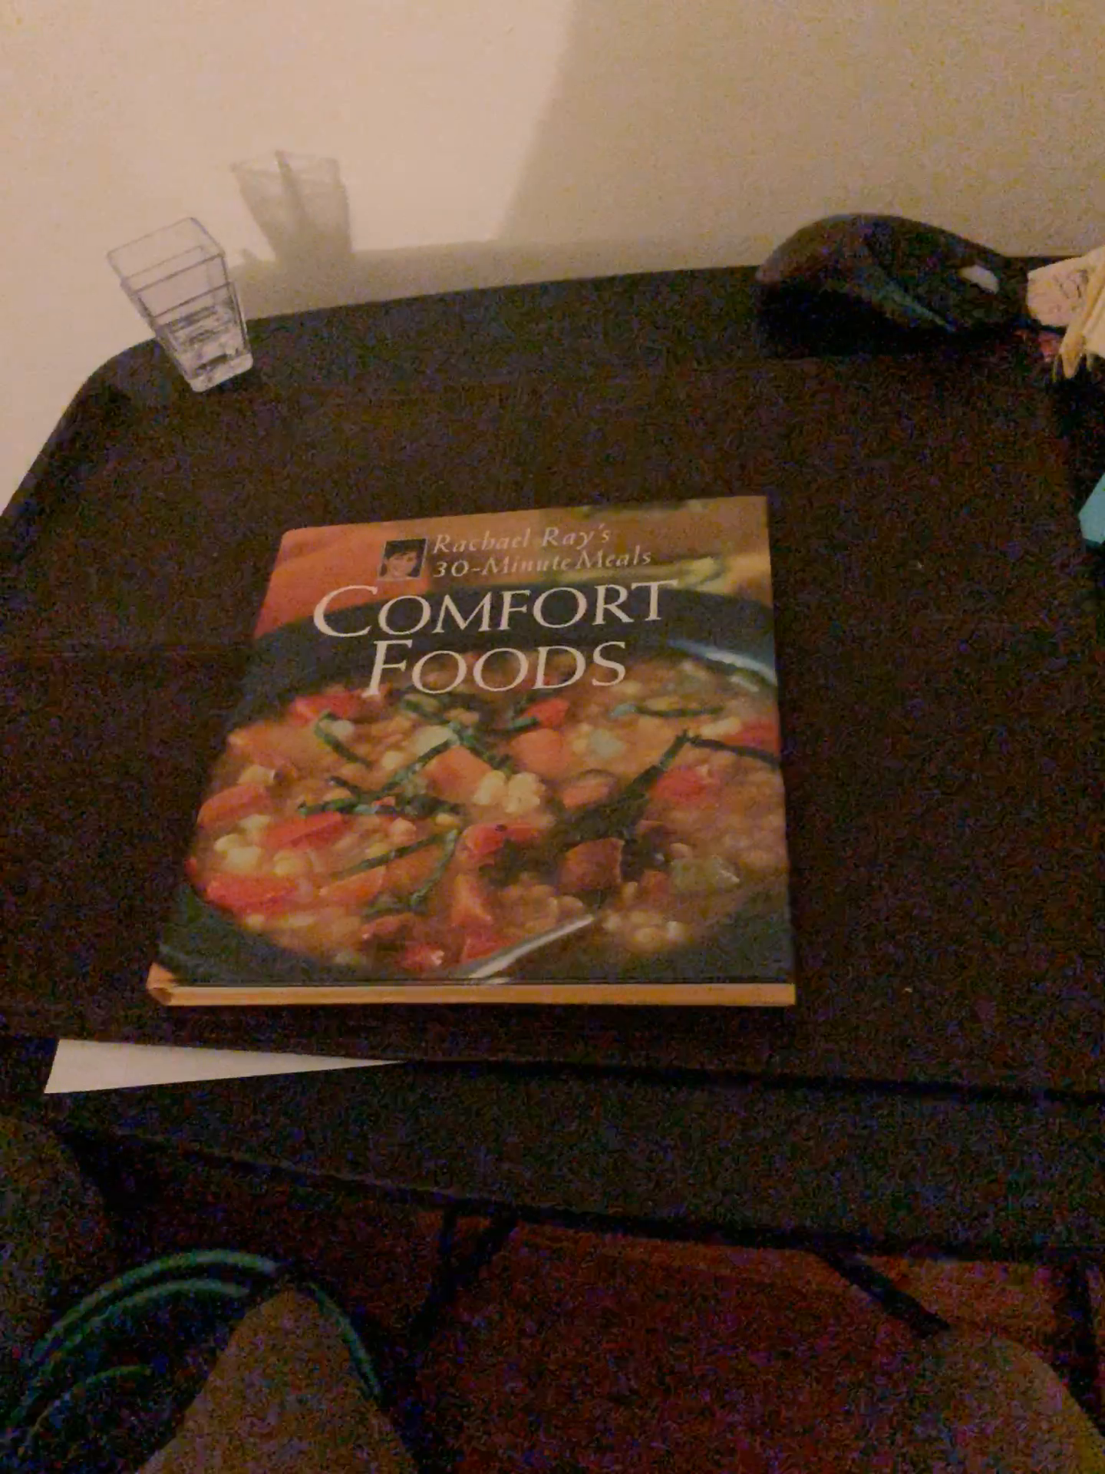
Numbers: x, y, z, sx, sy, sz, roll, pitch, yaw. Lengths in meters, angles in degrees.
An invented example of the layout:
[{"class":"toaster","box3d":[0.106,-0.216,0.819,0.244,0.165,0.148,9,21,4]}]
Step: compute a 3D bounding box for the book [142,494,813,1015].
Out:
[{"class":"book","box3d":[-0.019,-0.002,0.399,0.200,0.020,0.201,-3,52,10]}]
